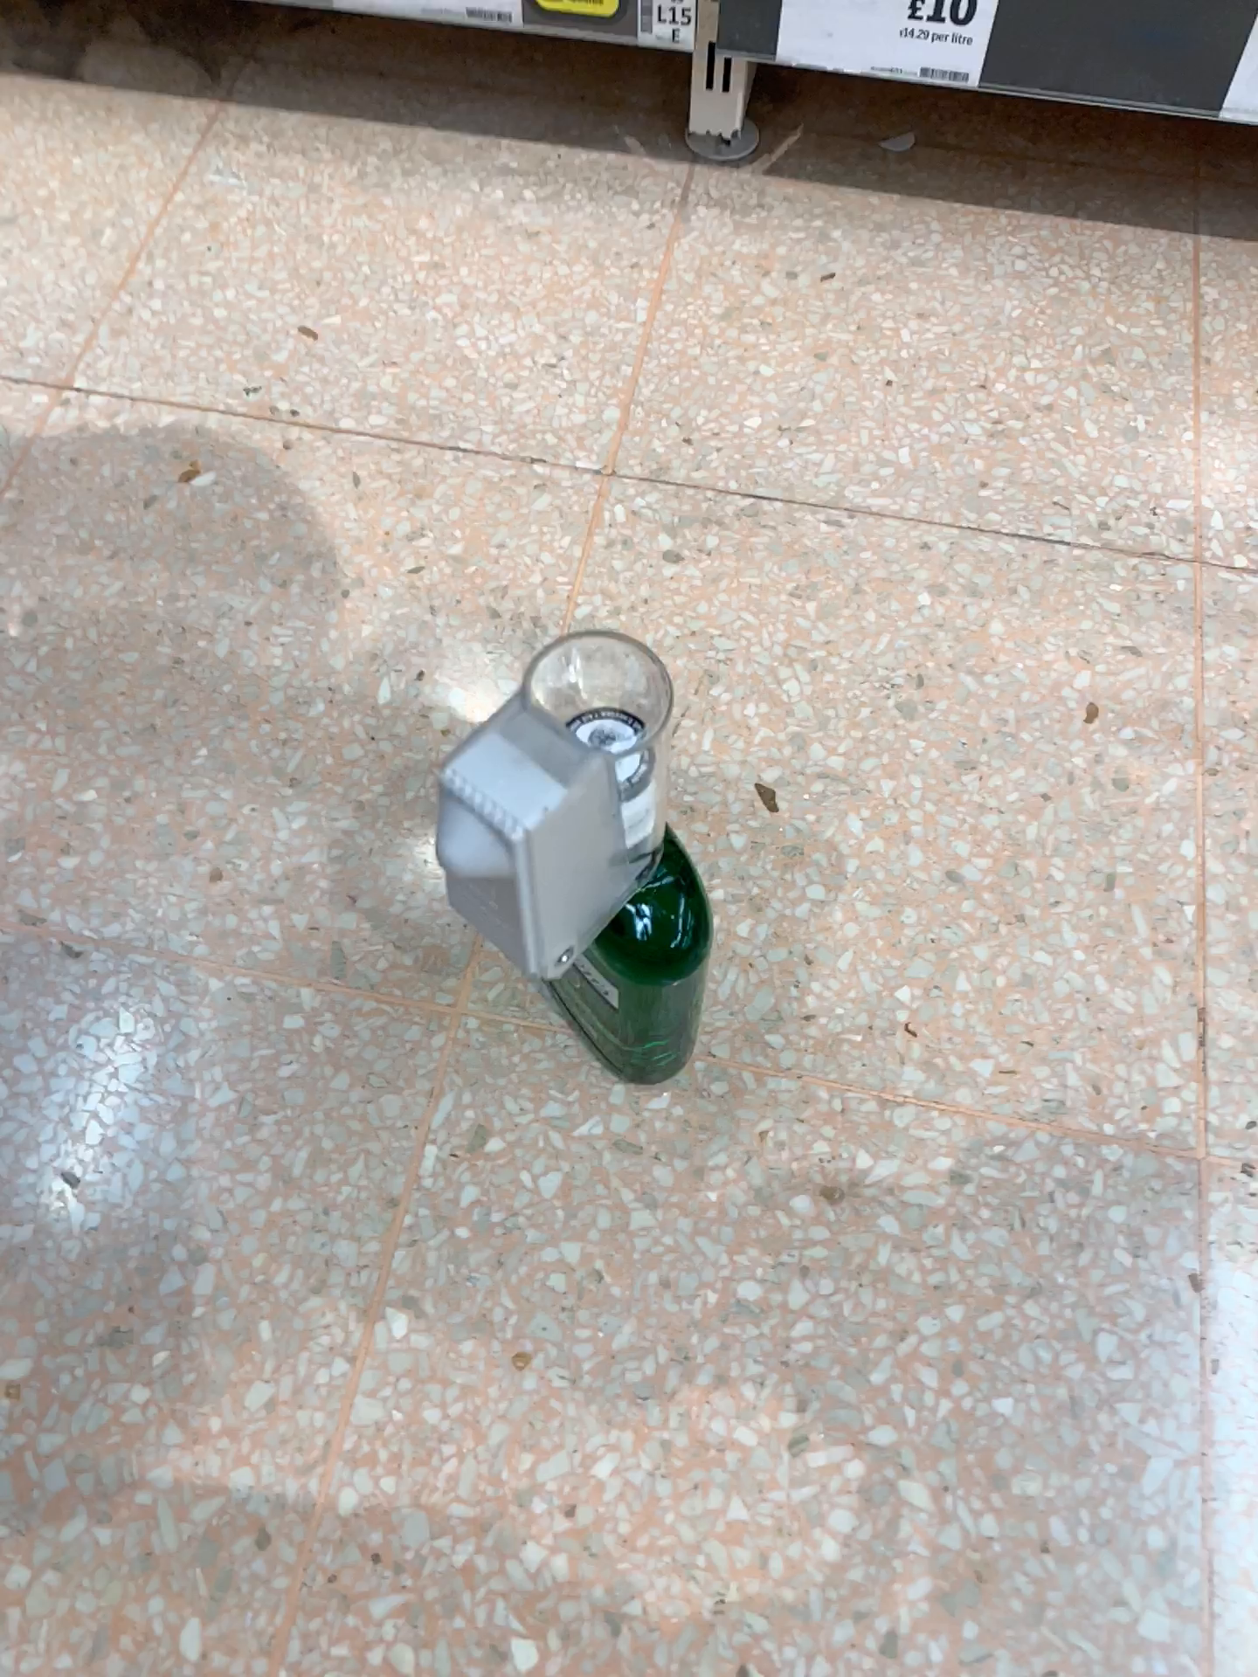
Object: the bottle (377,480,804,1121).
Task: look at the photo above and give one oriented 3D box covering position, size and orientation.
[{"bbox_3d":[-0.012,0.004,0.401,0.055,0.203,0.103,-32,67,-16],"label":"bottle"}]
